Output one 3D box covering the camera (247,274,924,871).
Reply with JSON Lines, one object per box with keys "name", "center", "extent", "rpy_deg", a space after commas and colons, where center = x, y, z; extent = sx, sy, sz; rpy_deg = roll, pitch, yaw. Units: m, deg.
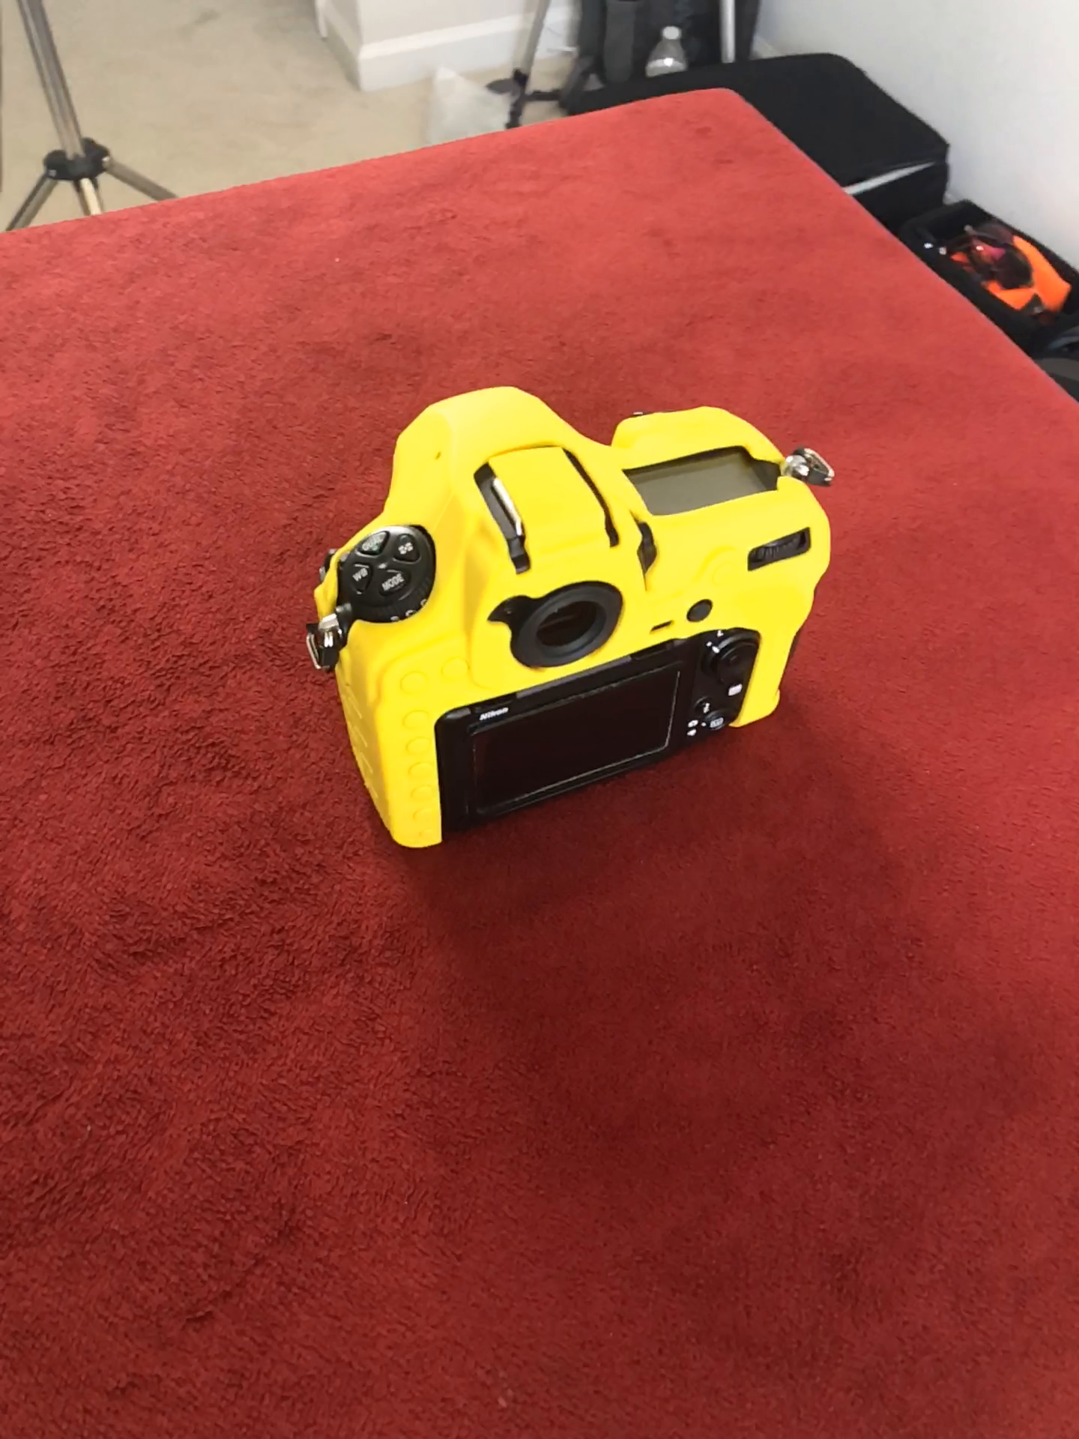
{"name": "camera", "center": [0.011, -0.044, 0.363], "extent": [0.160, 0.116, 0.082], "rpy_deg": [-19, 54, -14]}
